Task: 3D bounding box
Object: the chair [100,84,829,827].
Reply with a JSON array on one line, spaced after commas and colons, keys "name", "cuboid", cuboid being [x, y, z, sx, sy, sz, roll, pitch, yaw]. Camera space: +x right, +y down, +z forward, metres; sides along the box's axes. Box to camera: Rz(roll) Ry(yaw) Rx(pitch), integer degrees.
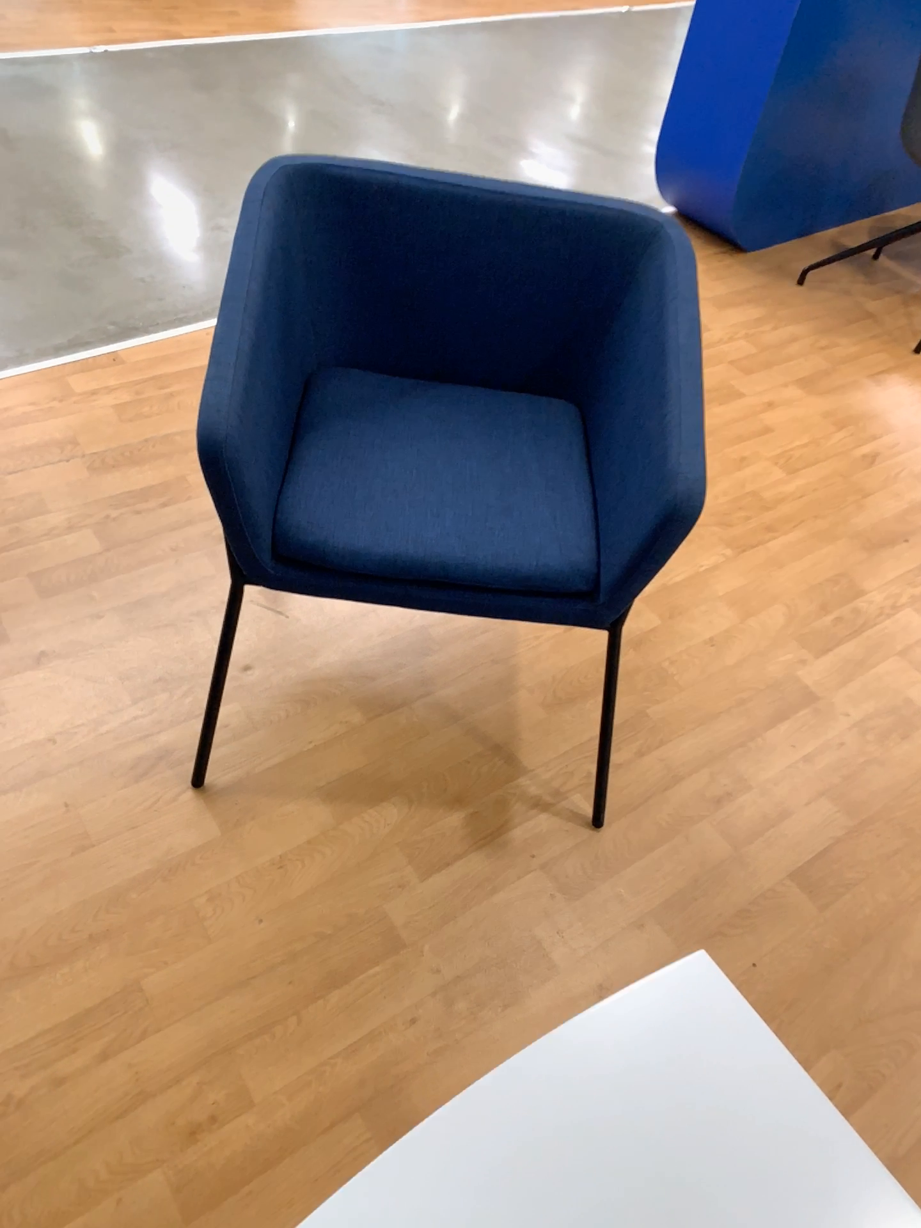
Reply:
[{"name": "chair", "cuboid": [-0.020, -0.232, 1.401, 0.700, 0.685, 0.756, 8, 46, -4]}]
